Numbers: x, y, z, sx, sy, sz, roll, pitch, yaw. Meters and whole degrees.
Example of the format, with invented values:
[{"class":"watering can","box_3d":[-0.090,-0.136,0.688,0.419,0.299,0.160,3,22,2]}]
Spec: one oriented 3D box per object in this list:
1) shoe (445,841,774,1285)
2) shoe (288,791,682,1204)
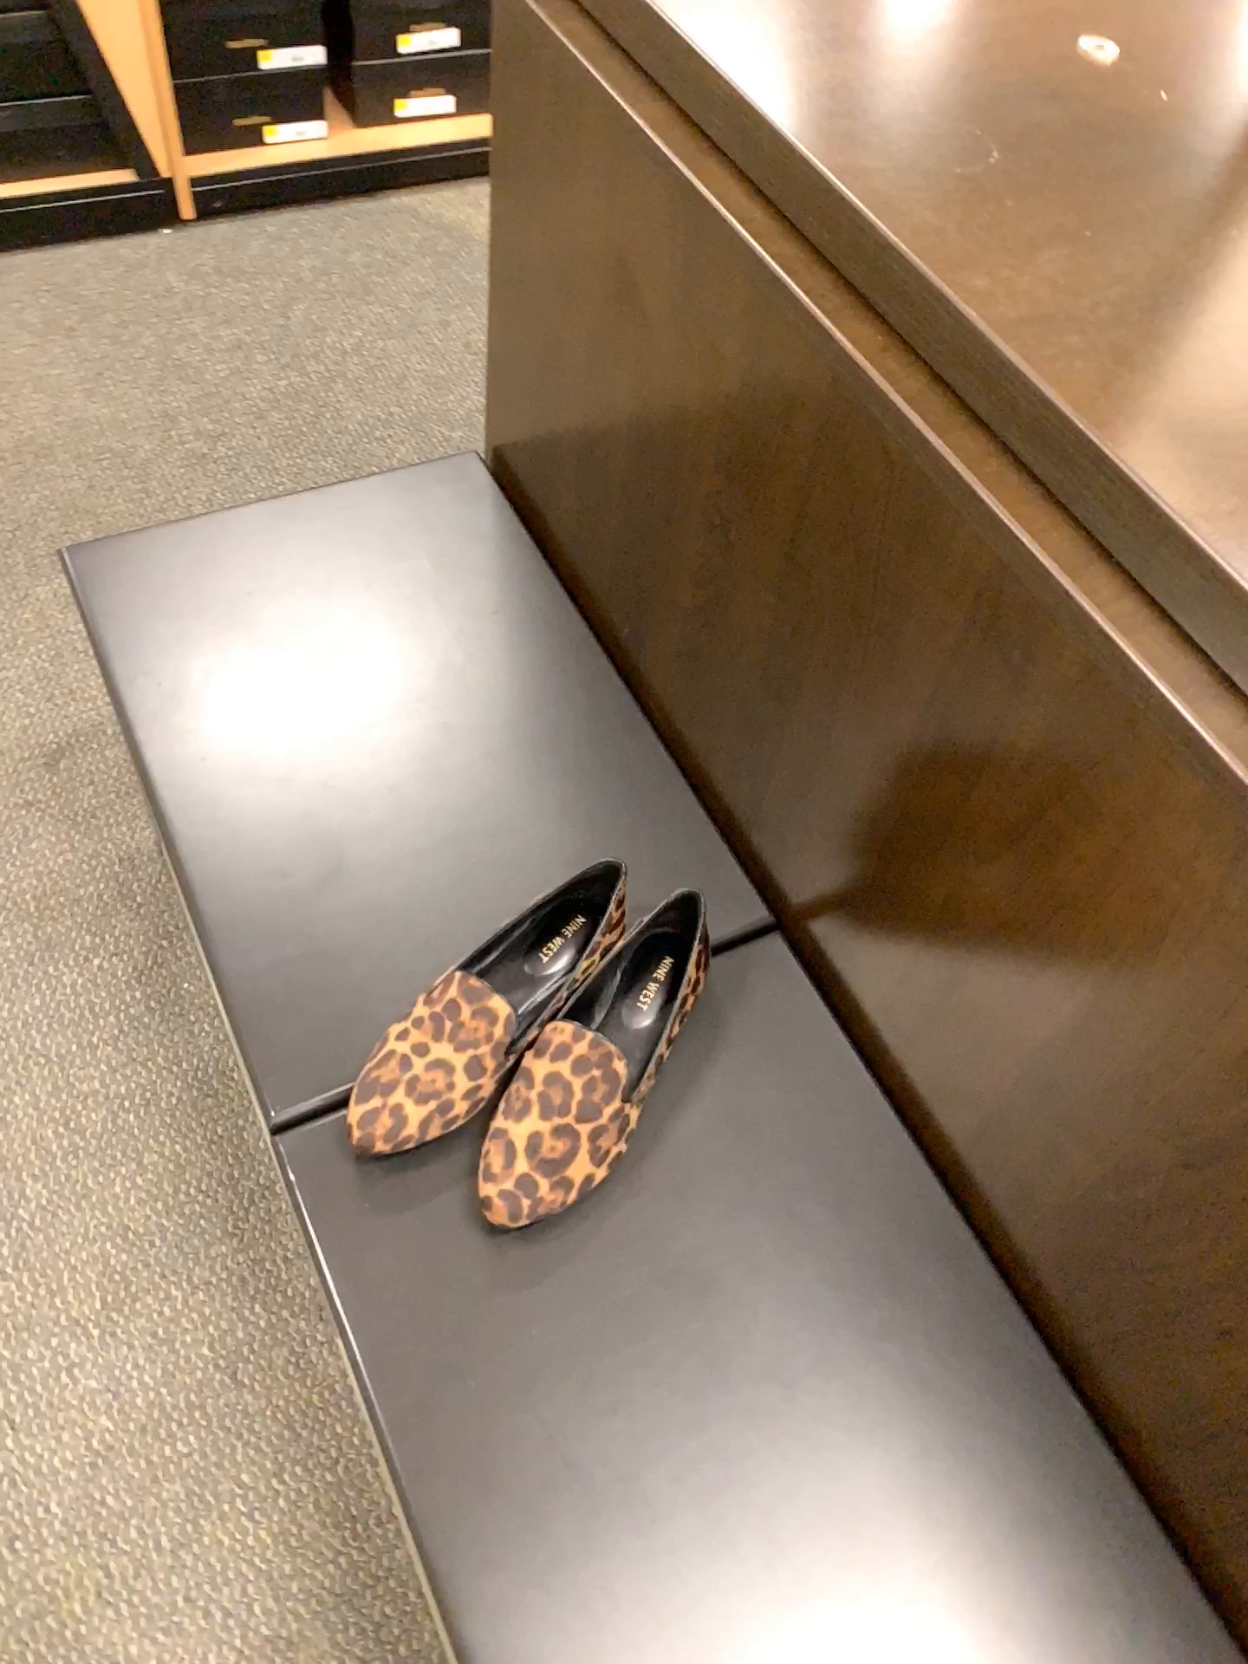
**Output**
[{"class":"shoe","box_3d":[-0.006,0.137,0.792,0.090,0.090,0.248,27,56,11]},{"class":"shoe","box_3d":[-0.081,0.098,0.798,0.090,0.090,0.248,37,58,17]}]
